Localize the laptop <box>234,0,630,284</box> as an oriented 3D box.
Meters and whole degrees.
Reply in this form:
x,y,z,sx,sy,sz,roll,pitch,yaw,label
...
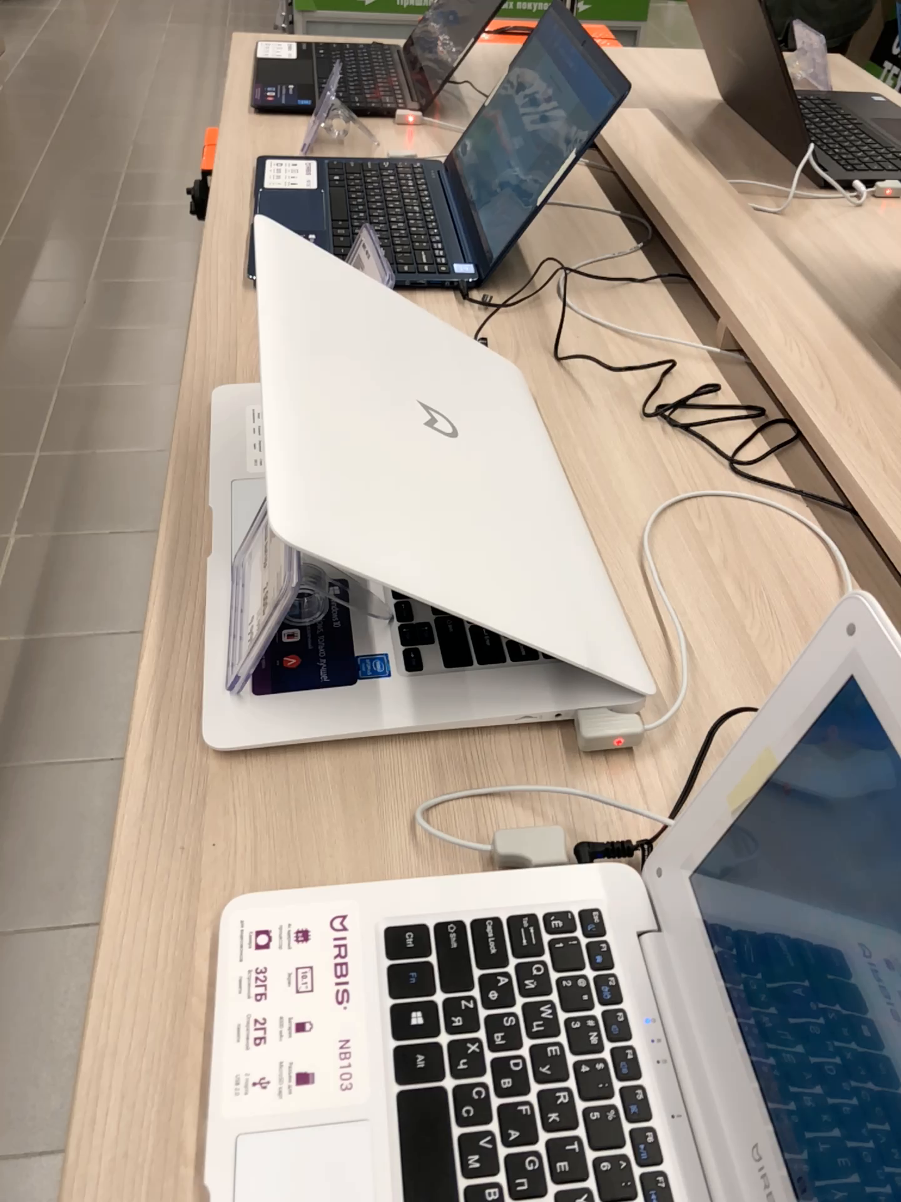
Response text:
x,y,z,sx,sy,sz,roll,pitch,yaw,label
-0.033,-0.454,0.955,0.318,0.162,0.311,-3,42,-8,laptop

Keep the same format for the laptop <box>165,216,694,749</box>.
x,y,z,sx,sy,sz,roll,pitch,yaw,label
-0.035,-0.098,0.582,0.223,0.115,0.352,-5,42,-7,laptop

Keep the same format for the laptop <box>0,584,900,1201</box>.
x,y,z,sx,sy,sz,roll,pitch,yaw,label
0.037,0.144,0.273,0.230,0.168,0.264,-1,40,-5,laptop
